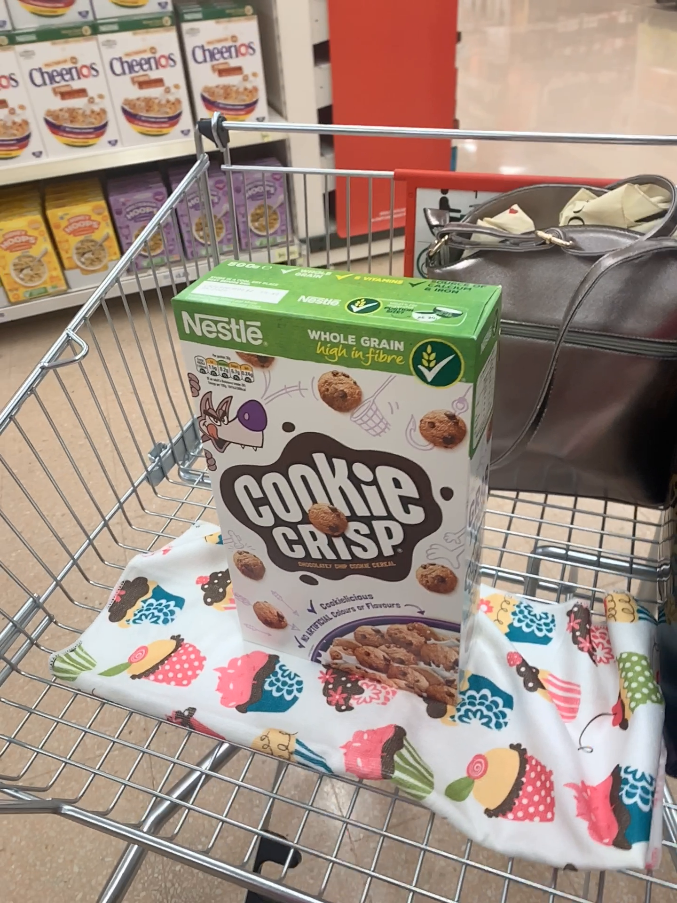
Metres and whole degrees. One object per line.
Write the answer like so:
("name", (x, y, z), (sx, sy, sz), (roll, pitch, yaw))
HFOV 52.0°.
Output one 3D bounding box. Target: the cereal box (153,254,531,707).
("cereal box", (0.004, 0.029, 0.509), (0.220, 0.307, 0.071), (11, 36, 19))
